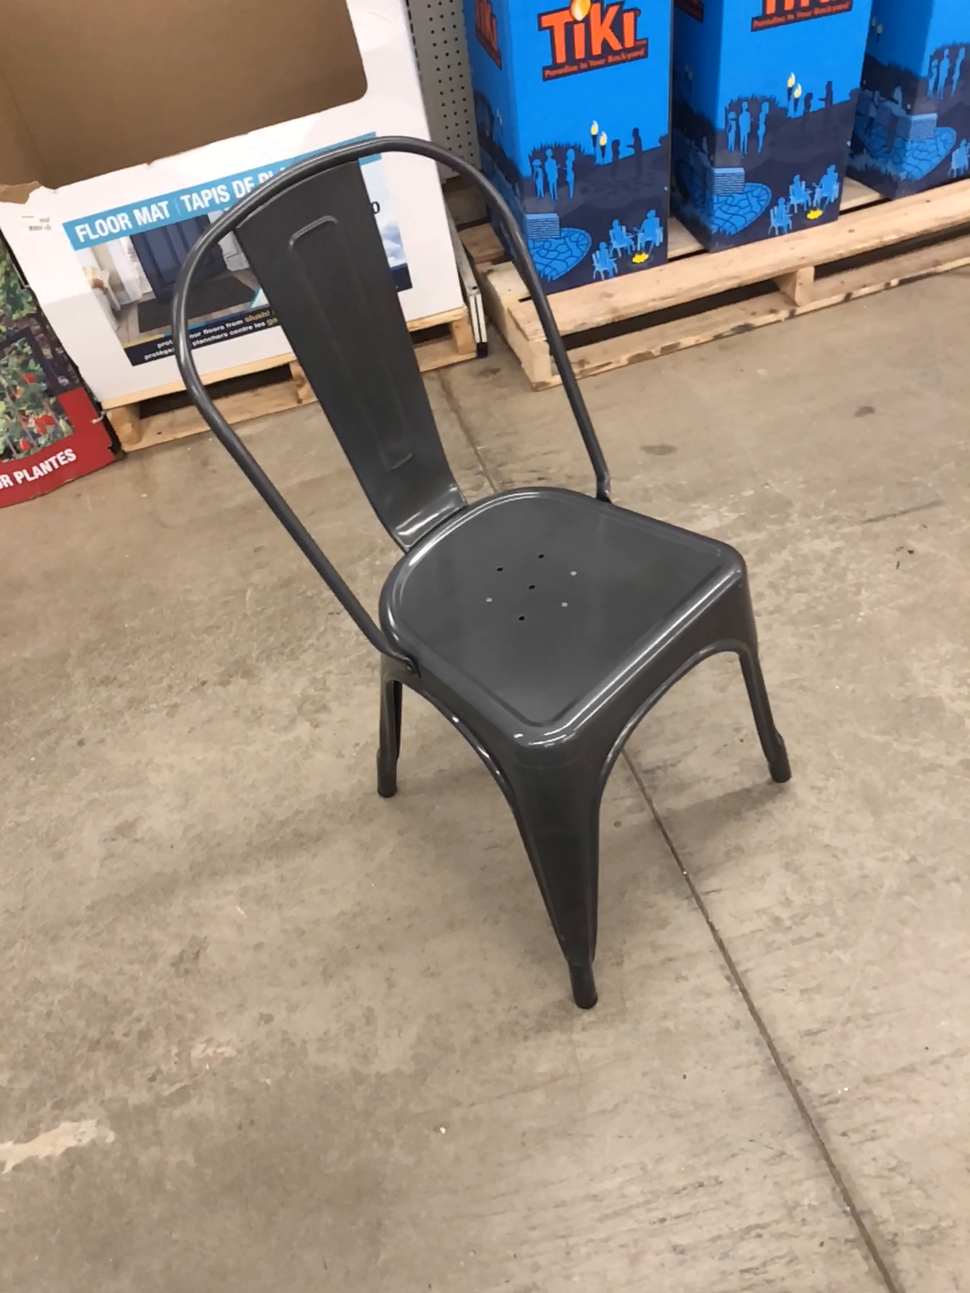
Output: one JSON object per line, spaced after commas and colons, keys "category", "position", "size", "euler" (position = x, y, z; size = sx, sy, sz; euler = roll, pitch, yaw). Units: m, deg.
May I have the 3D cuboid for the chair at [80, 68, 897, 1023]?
{"category": "chair", "position": [0.045, -0.088, 1.193], "size": [0.501, 0.817, 0.481], "euler": [30, 59, 32]}
